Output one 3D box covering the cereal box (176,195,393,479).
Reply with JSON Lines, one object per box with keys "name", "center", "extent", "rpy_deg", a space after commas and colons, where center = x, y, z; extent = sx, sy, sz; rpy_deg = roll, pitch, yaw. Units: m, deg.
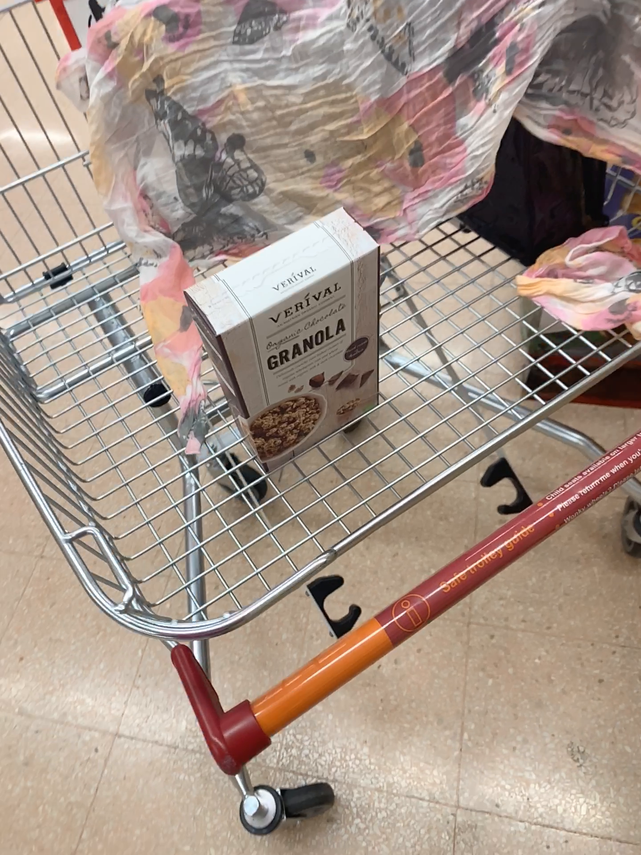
{"name": "cereal box", "center": [-0.018, -0.059, 0.534], "extent": [0.140, 0.218, 0.050], "rpy_deg": [-30, 63, -13]}
